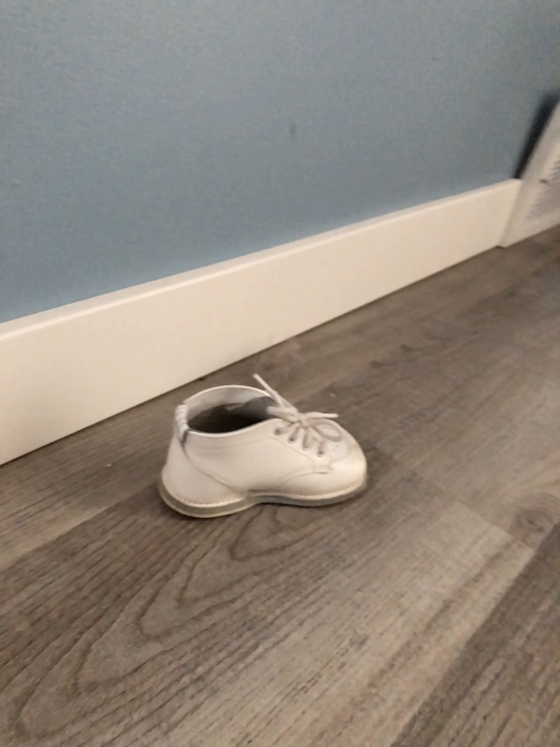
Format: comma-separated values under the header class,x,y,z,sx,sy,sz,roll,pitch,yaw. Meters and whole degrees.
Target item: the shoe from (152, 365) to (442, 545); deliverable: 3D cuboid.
class,x,y,z,sx,sy,sz,roll,pitch,yaw
shoe,0.008,0.043,0.363,0.150,0.060,0.060,-5,37,-22
